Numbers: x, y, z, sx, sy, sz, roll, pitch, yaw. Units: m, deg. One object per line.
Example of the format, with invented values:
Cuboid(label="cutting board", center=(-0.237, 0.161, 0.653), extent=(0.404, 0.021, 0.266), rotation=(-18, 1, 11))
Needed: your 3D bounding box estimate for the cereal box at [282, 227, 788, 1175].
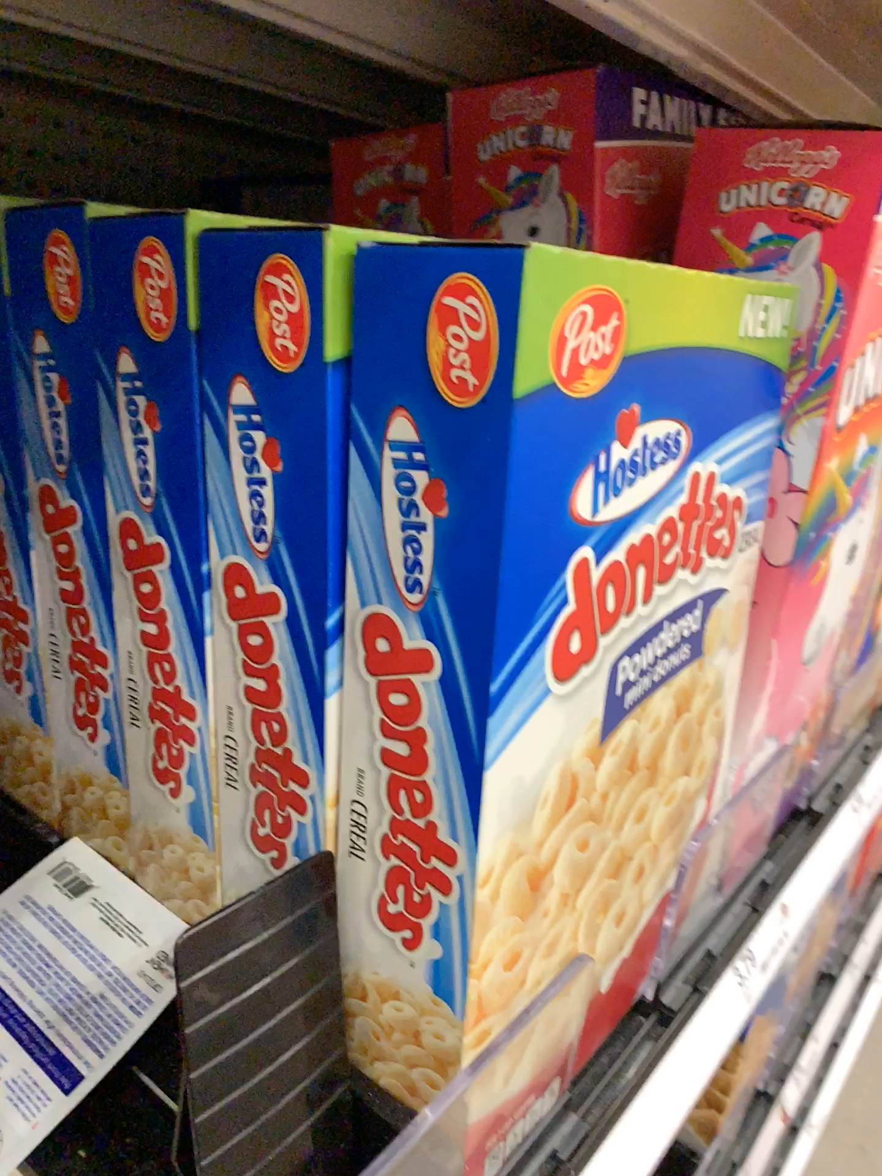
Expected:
Cuboid(label="cereal box", center=(0.037, 0.030, 0.314), extent=(0.060, 0.269, 0.191), rotation=(15, 20, 35))
